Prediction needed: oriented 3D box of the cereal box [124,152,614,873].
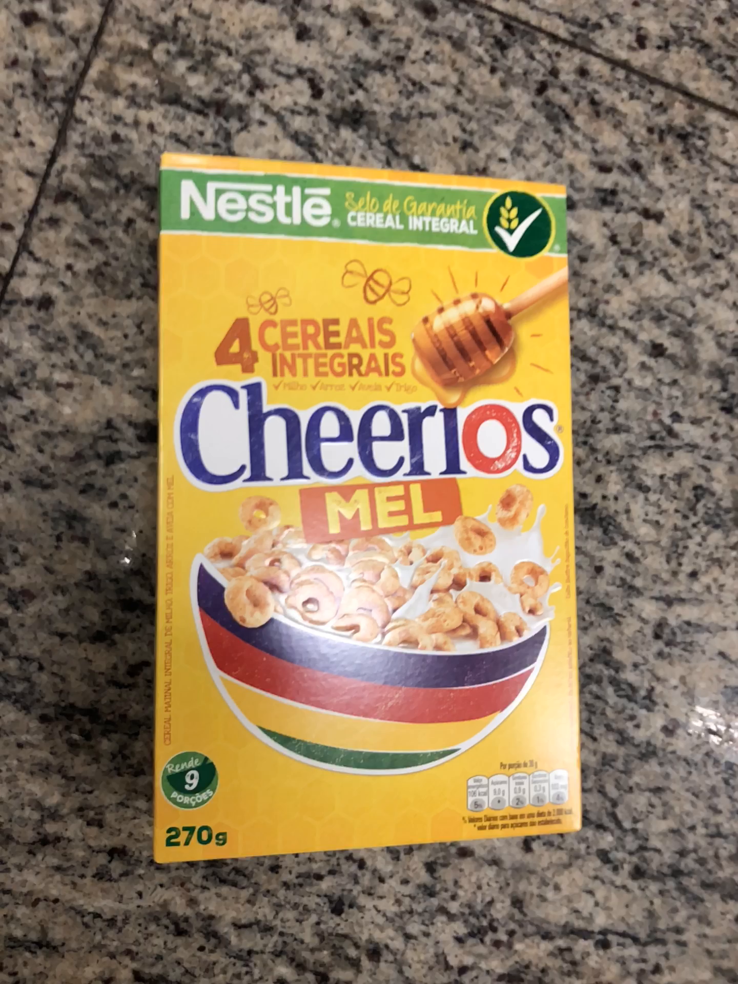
[{"bbox_3d":[-0.004,0.004,0.320,0.170,0.060,0.240,0,85,-12],"label":"cereal box"}]
